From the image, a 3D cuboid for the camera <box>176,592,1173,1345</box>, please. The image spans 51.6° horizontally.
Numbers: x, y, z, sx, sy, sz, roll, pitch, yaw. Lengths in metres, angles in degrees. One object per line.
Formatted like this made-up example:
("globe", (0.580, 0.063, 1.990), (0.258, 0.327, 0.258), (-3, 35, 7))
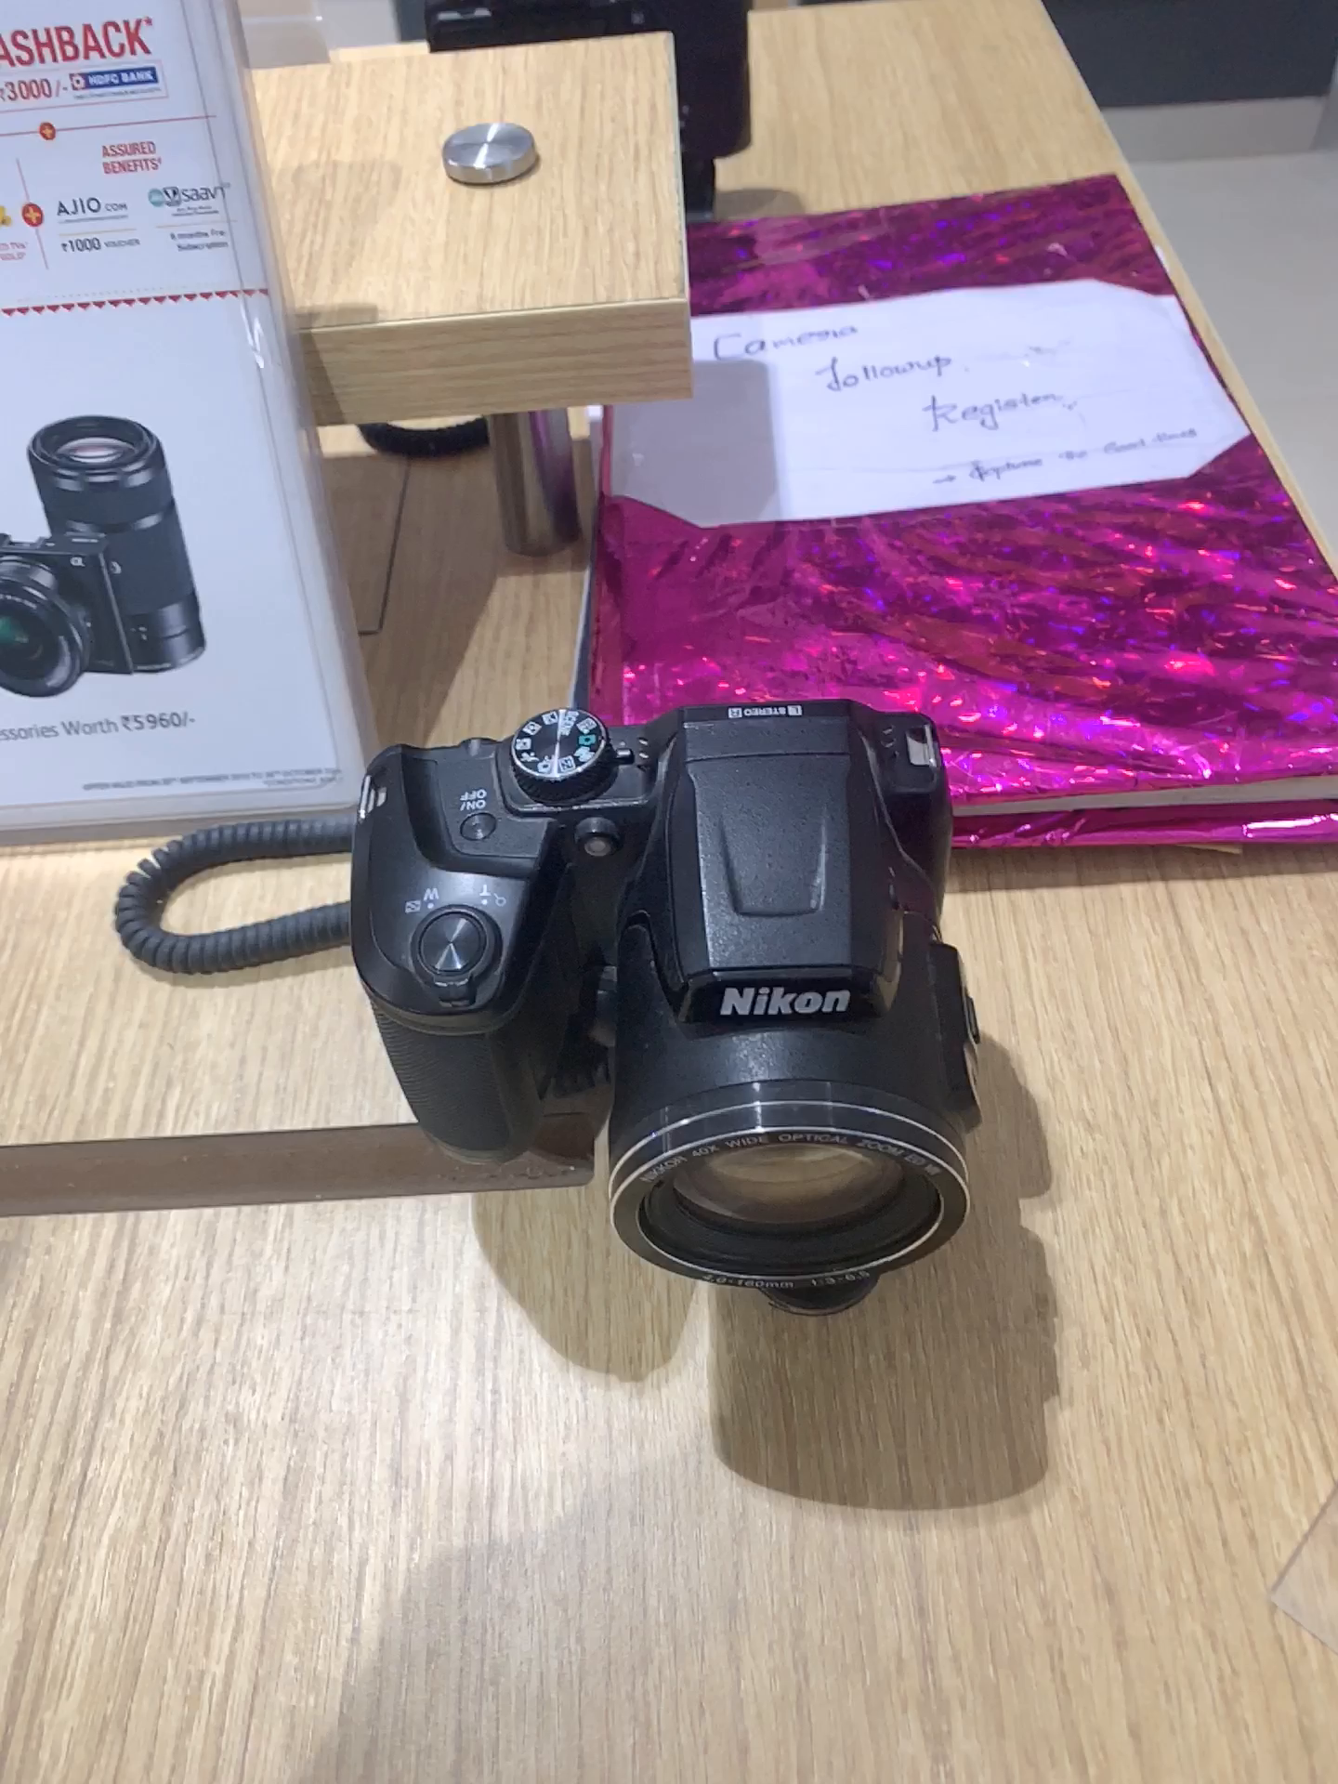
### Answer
("camera", (0.002, 0.016, 0.243), (0.130, 0.090, 0.090), (-3, 50, 2))
